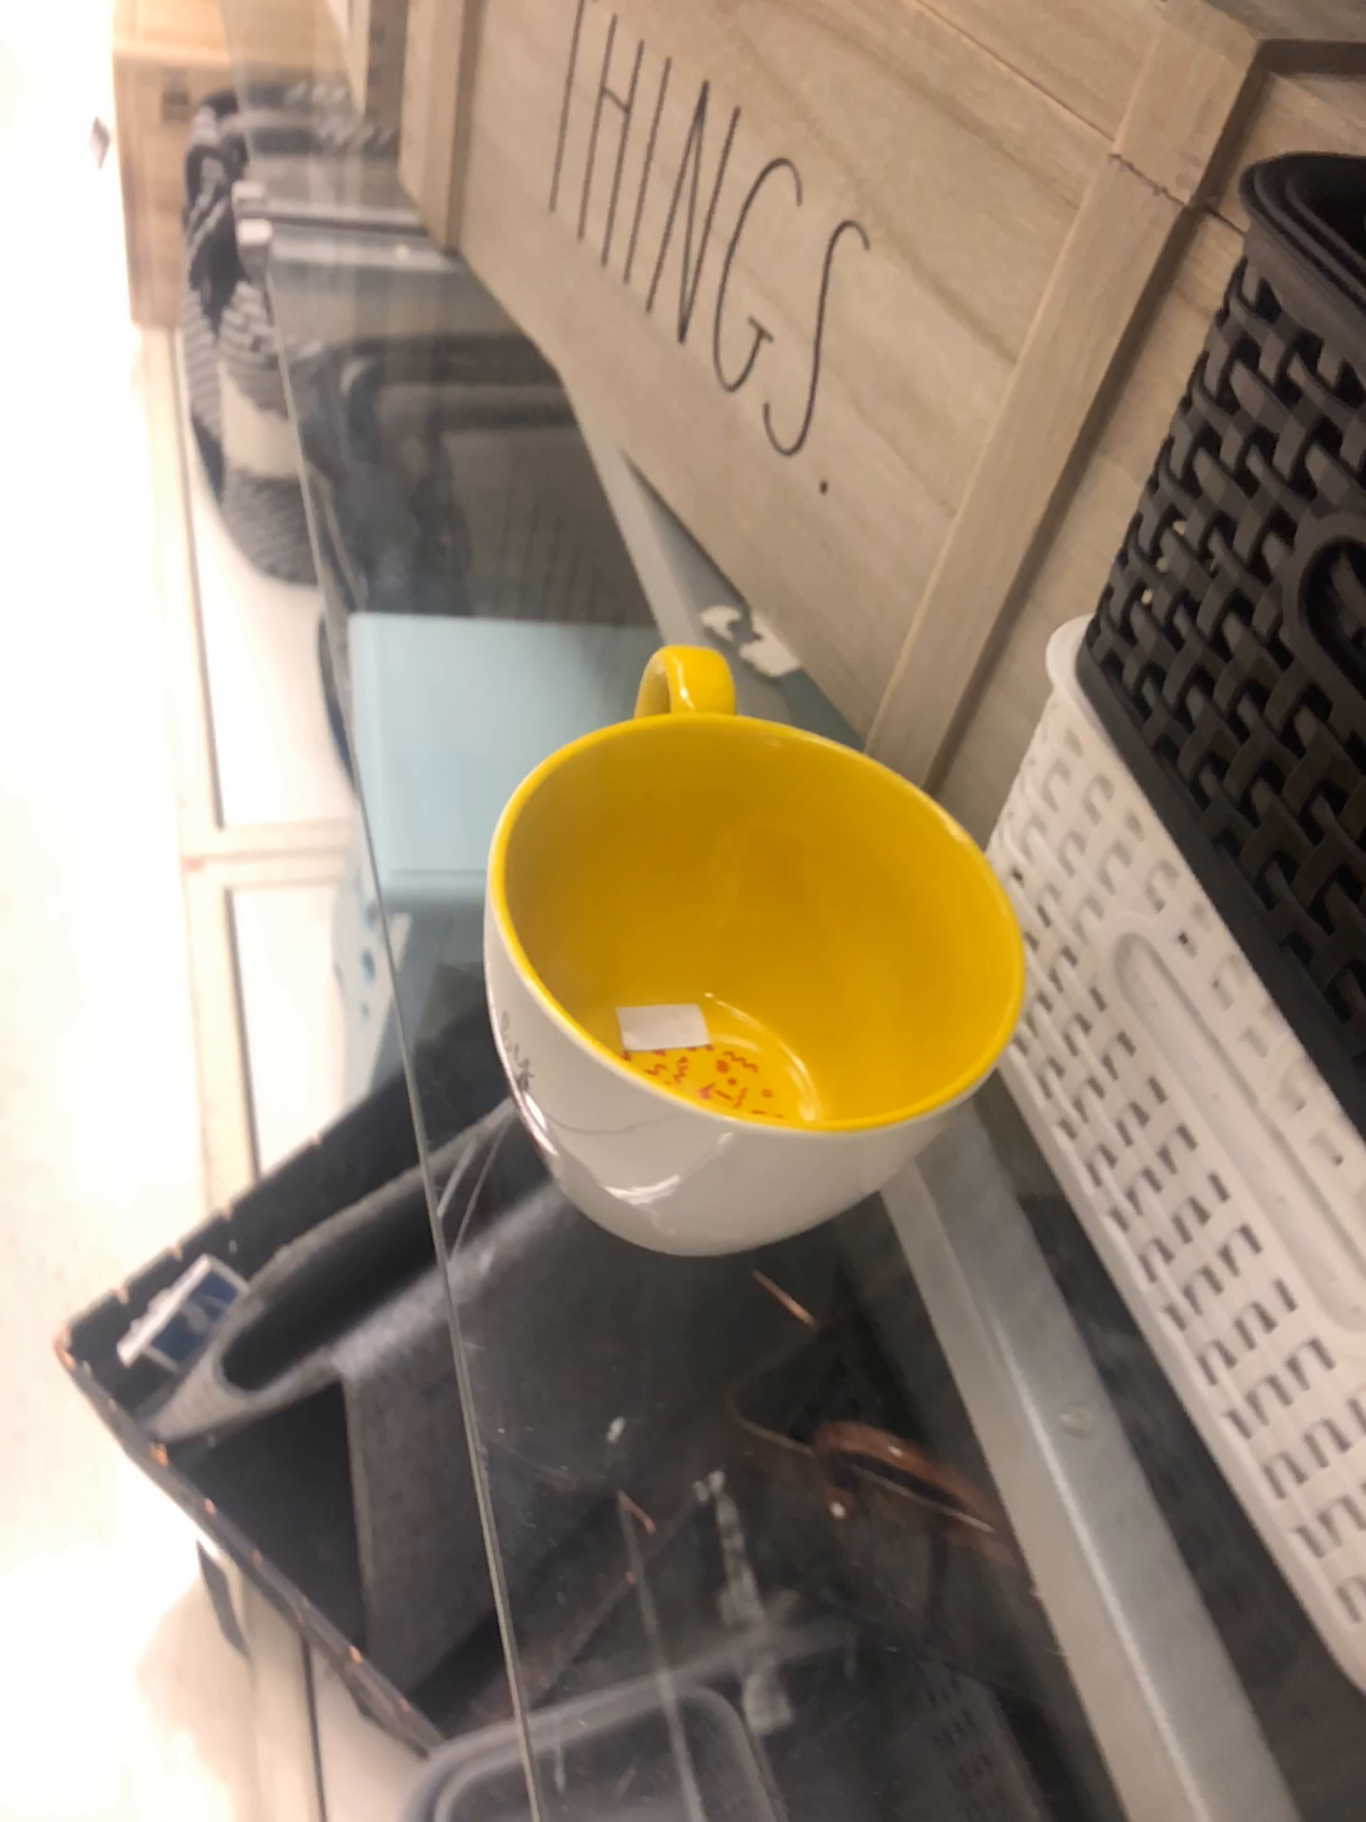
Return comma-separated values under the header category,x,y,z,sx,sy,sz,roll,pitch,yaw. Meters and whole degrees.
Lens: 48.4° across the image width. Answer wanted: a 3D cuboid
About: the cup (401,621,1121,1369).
category,x,y,z,sx,sy,sz,roll,pitch,yaw
cup,0.005,0.012,0.368,0.126,0.076,0.157,-4,51,-16
